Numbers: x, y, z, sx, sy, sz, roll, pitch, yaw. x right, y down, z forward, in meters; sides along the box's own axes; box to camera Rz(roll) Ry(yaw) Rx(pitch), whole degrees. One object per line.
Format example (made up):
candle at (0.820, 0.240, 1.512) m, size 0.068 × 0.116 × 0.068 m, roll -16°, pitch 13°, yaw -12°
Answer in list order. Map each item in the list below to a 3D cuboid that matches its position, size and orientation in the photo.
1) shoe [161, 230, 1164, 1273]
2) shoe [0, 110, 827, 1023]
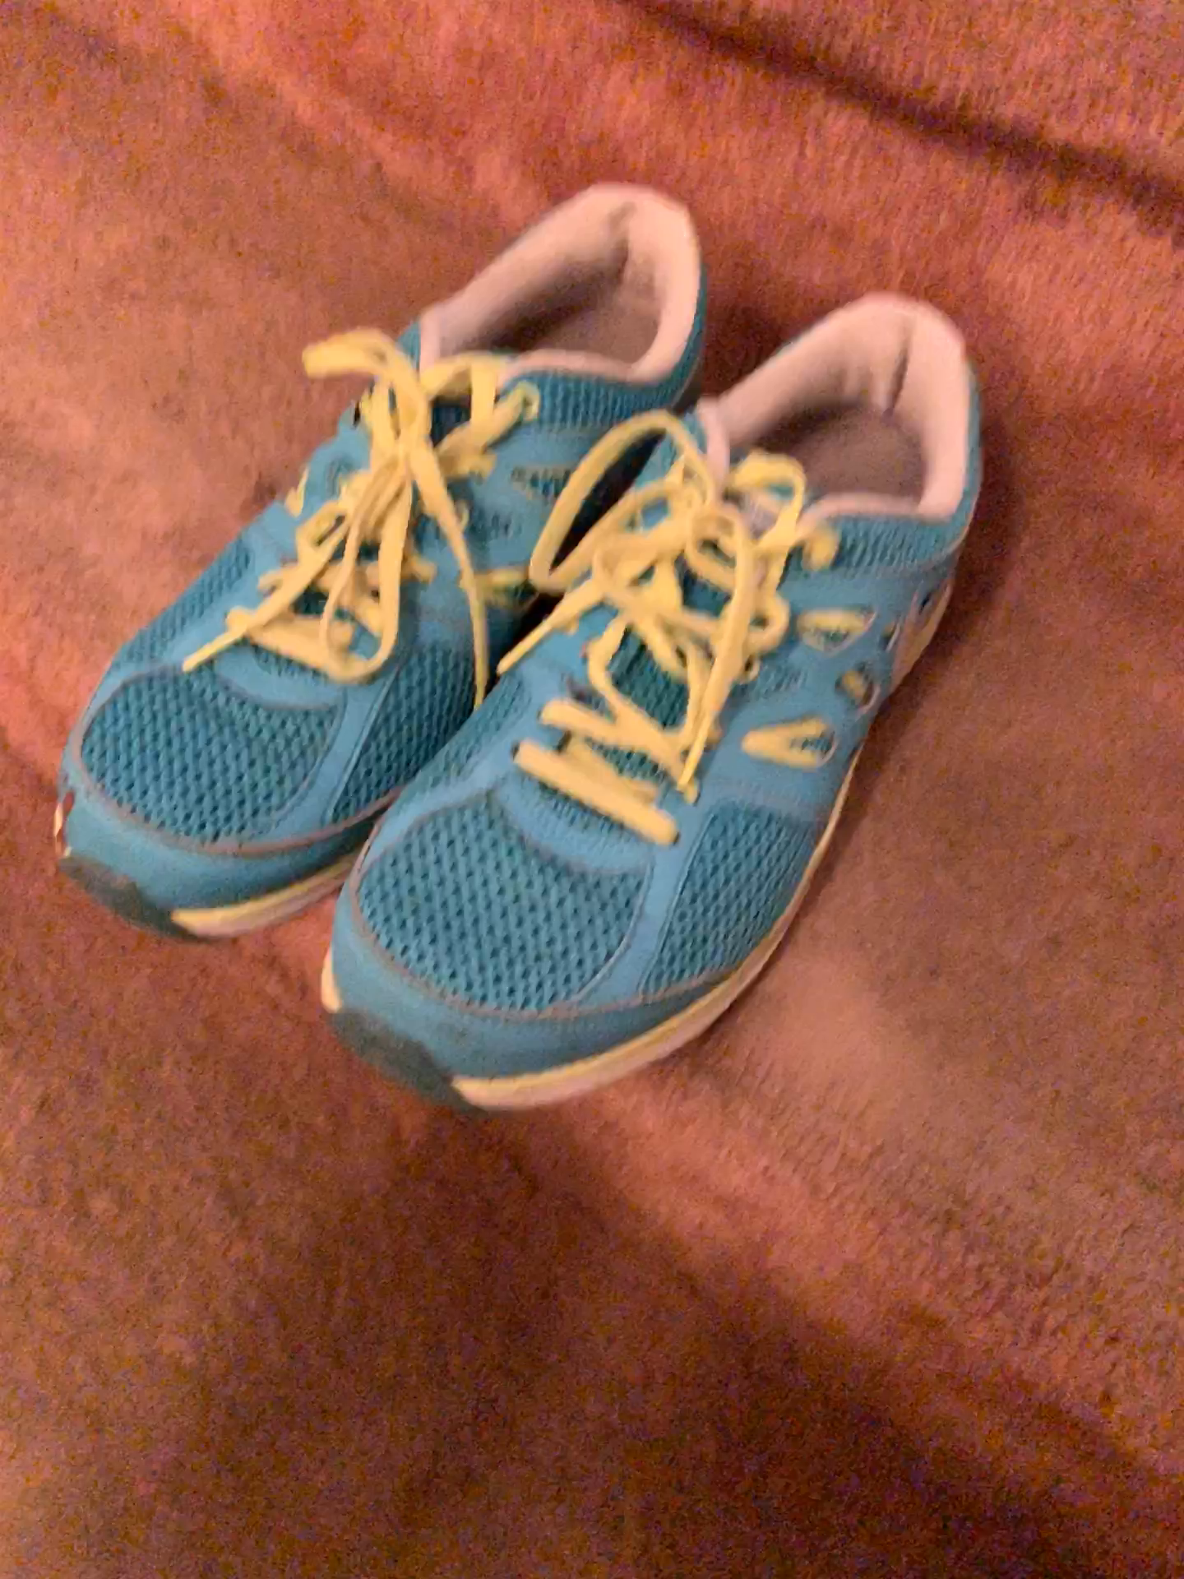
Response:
shoe at (0.038, -0.036, 0.330) m, size 0.110 × 0.099 × 0.282 m, roll 32°, pitch 53°, yaw 16°
shoe at (-0.051, -0.087, 0.358) m, size 0.110 × 0.099 × 0.282 m, roll 29°, pitch 52°, yaw 14°
